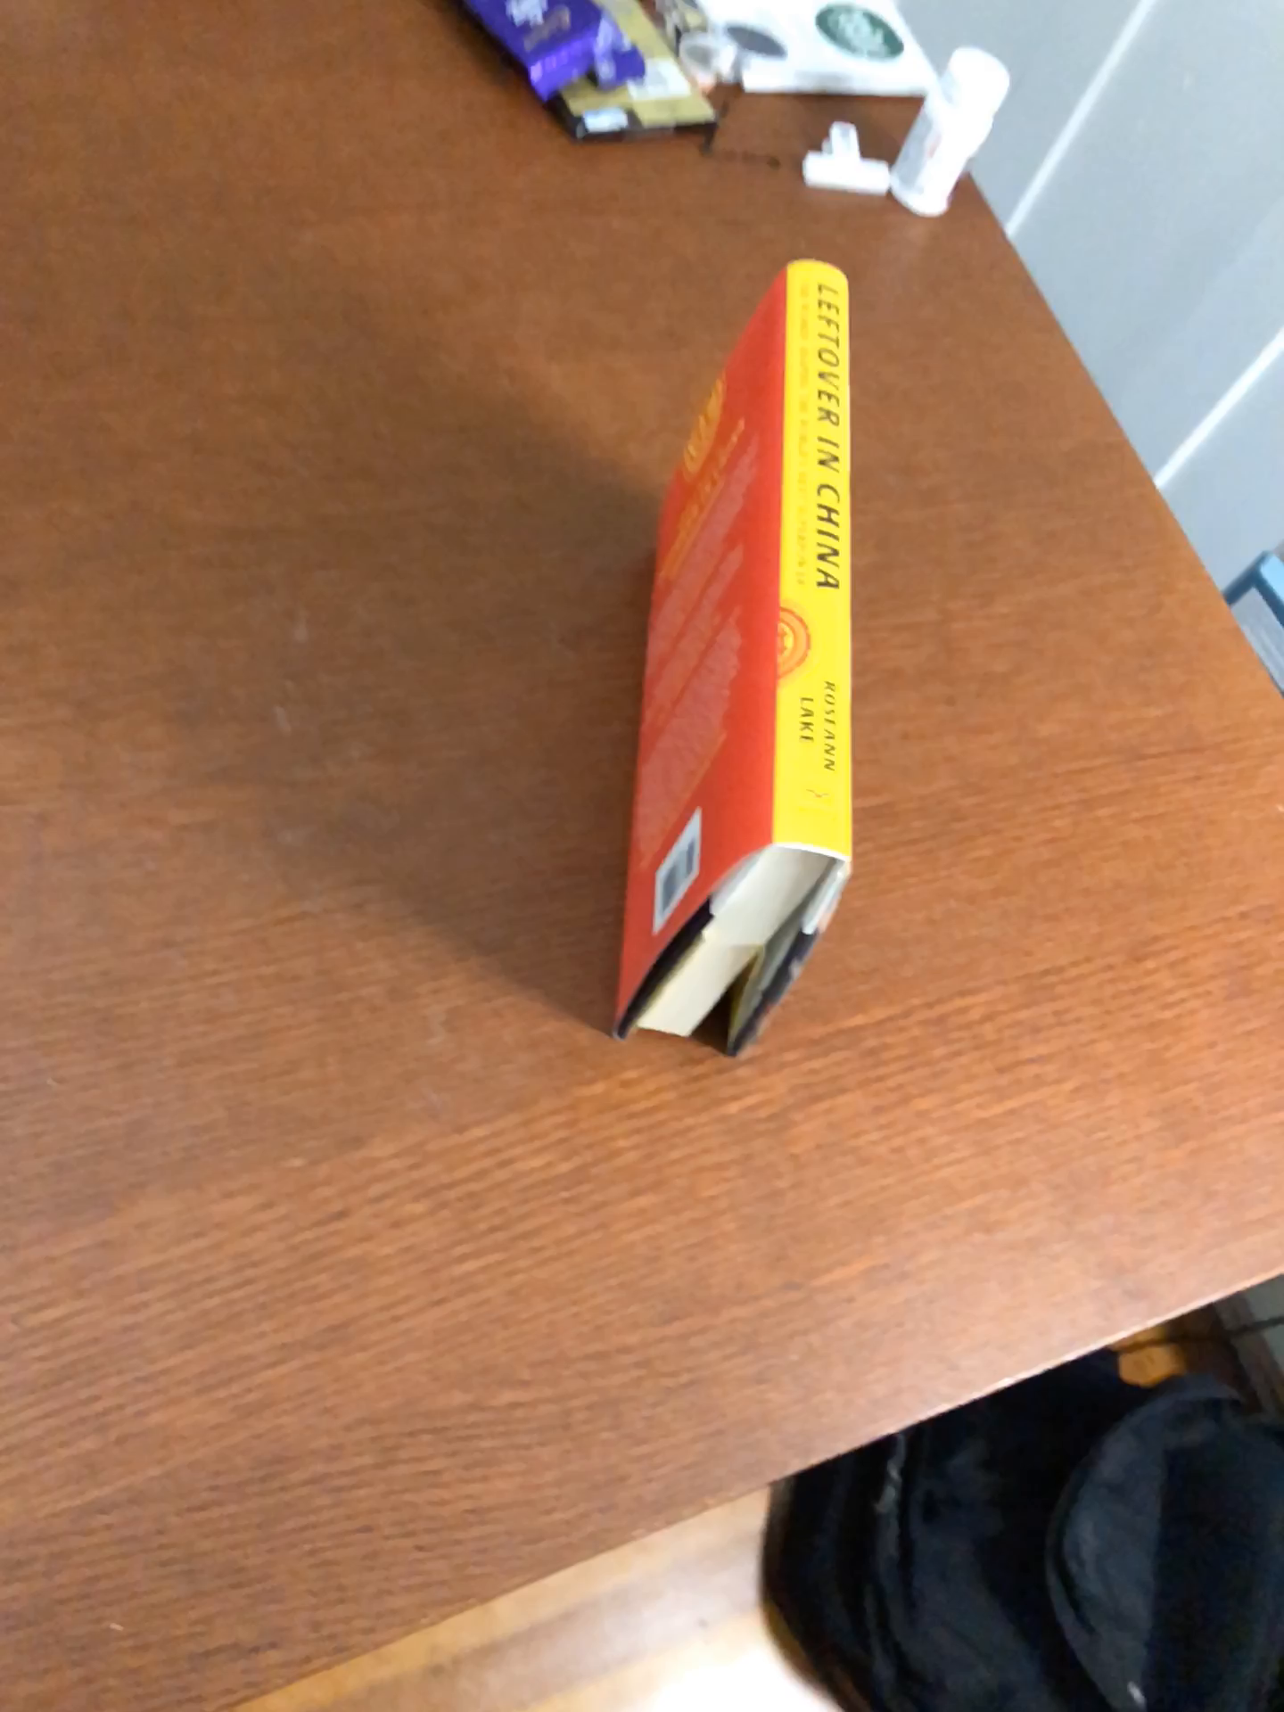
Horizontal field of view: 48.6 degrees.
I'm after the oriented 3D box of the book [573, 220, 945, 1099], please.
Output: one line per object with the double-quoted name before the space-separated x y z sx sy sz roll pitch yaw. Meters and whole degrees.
"book" 0.039 -0.067 0.525 0.060 0.179 0.261 12 60 -12
